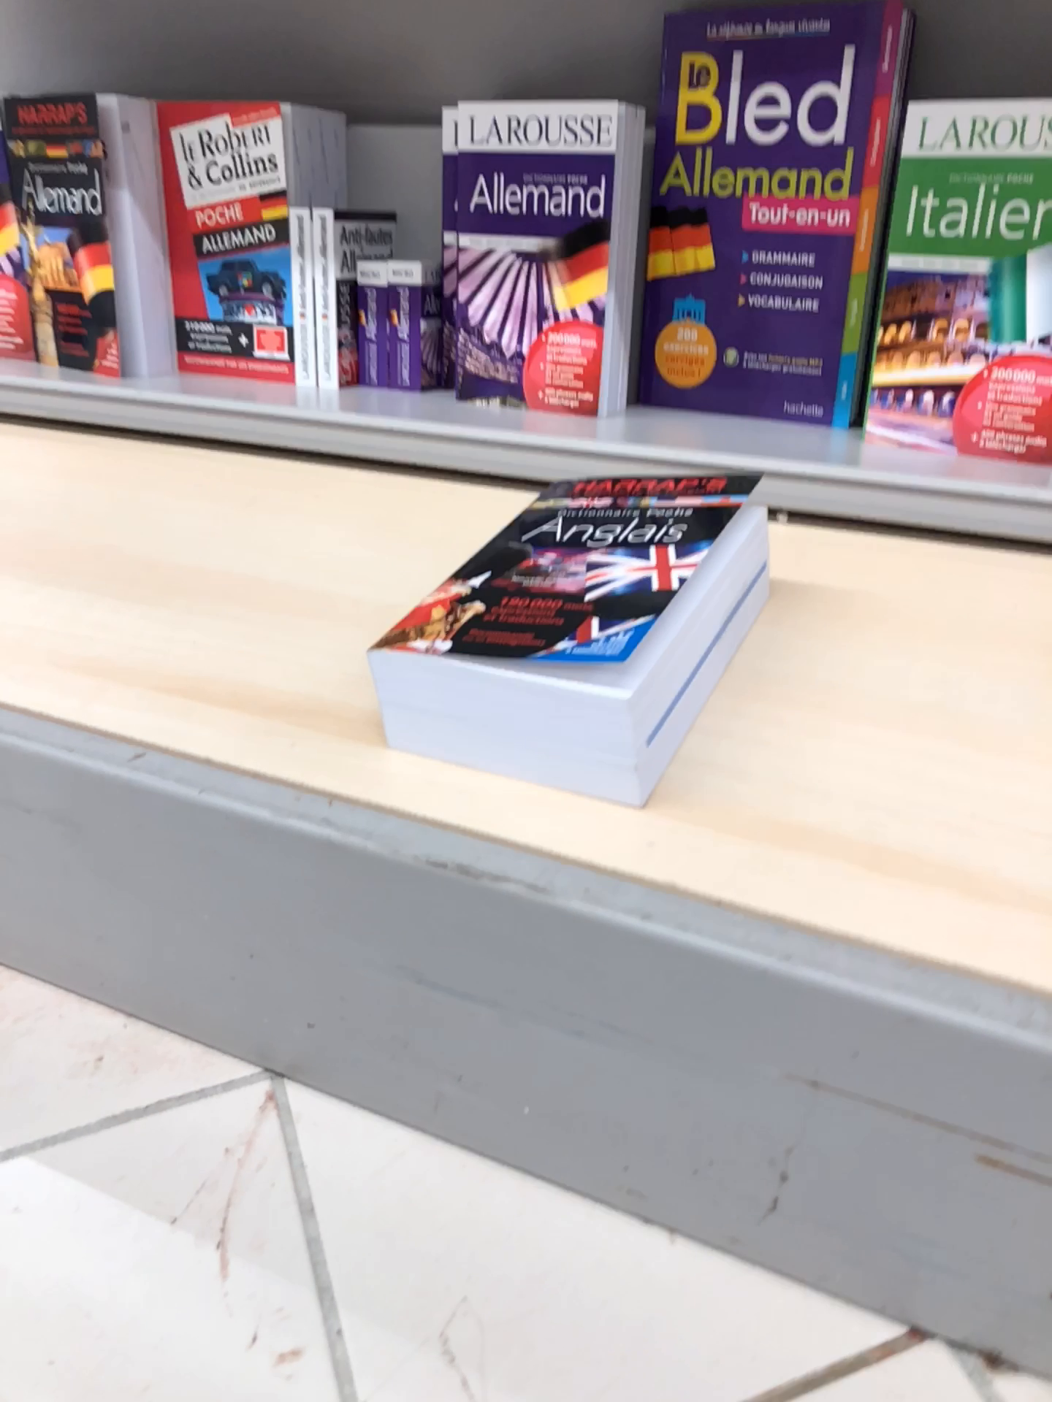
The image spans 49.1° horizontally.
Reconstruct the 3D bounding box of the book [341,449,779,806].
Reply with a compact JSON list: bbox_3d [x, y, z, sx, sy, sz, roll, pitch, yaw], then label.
[{"bbox_3d":[0.025,-0.043,0.483,0.115,0.057,0.183,11,35,23],"label":"book"}]
